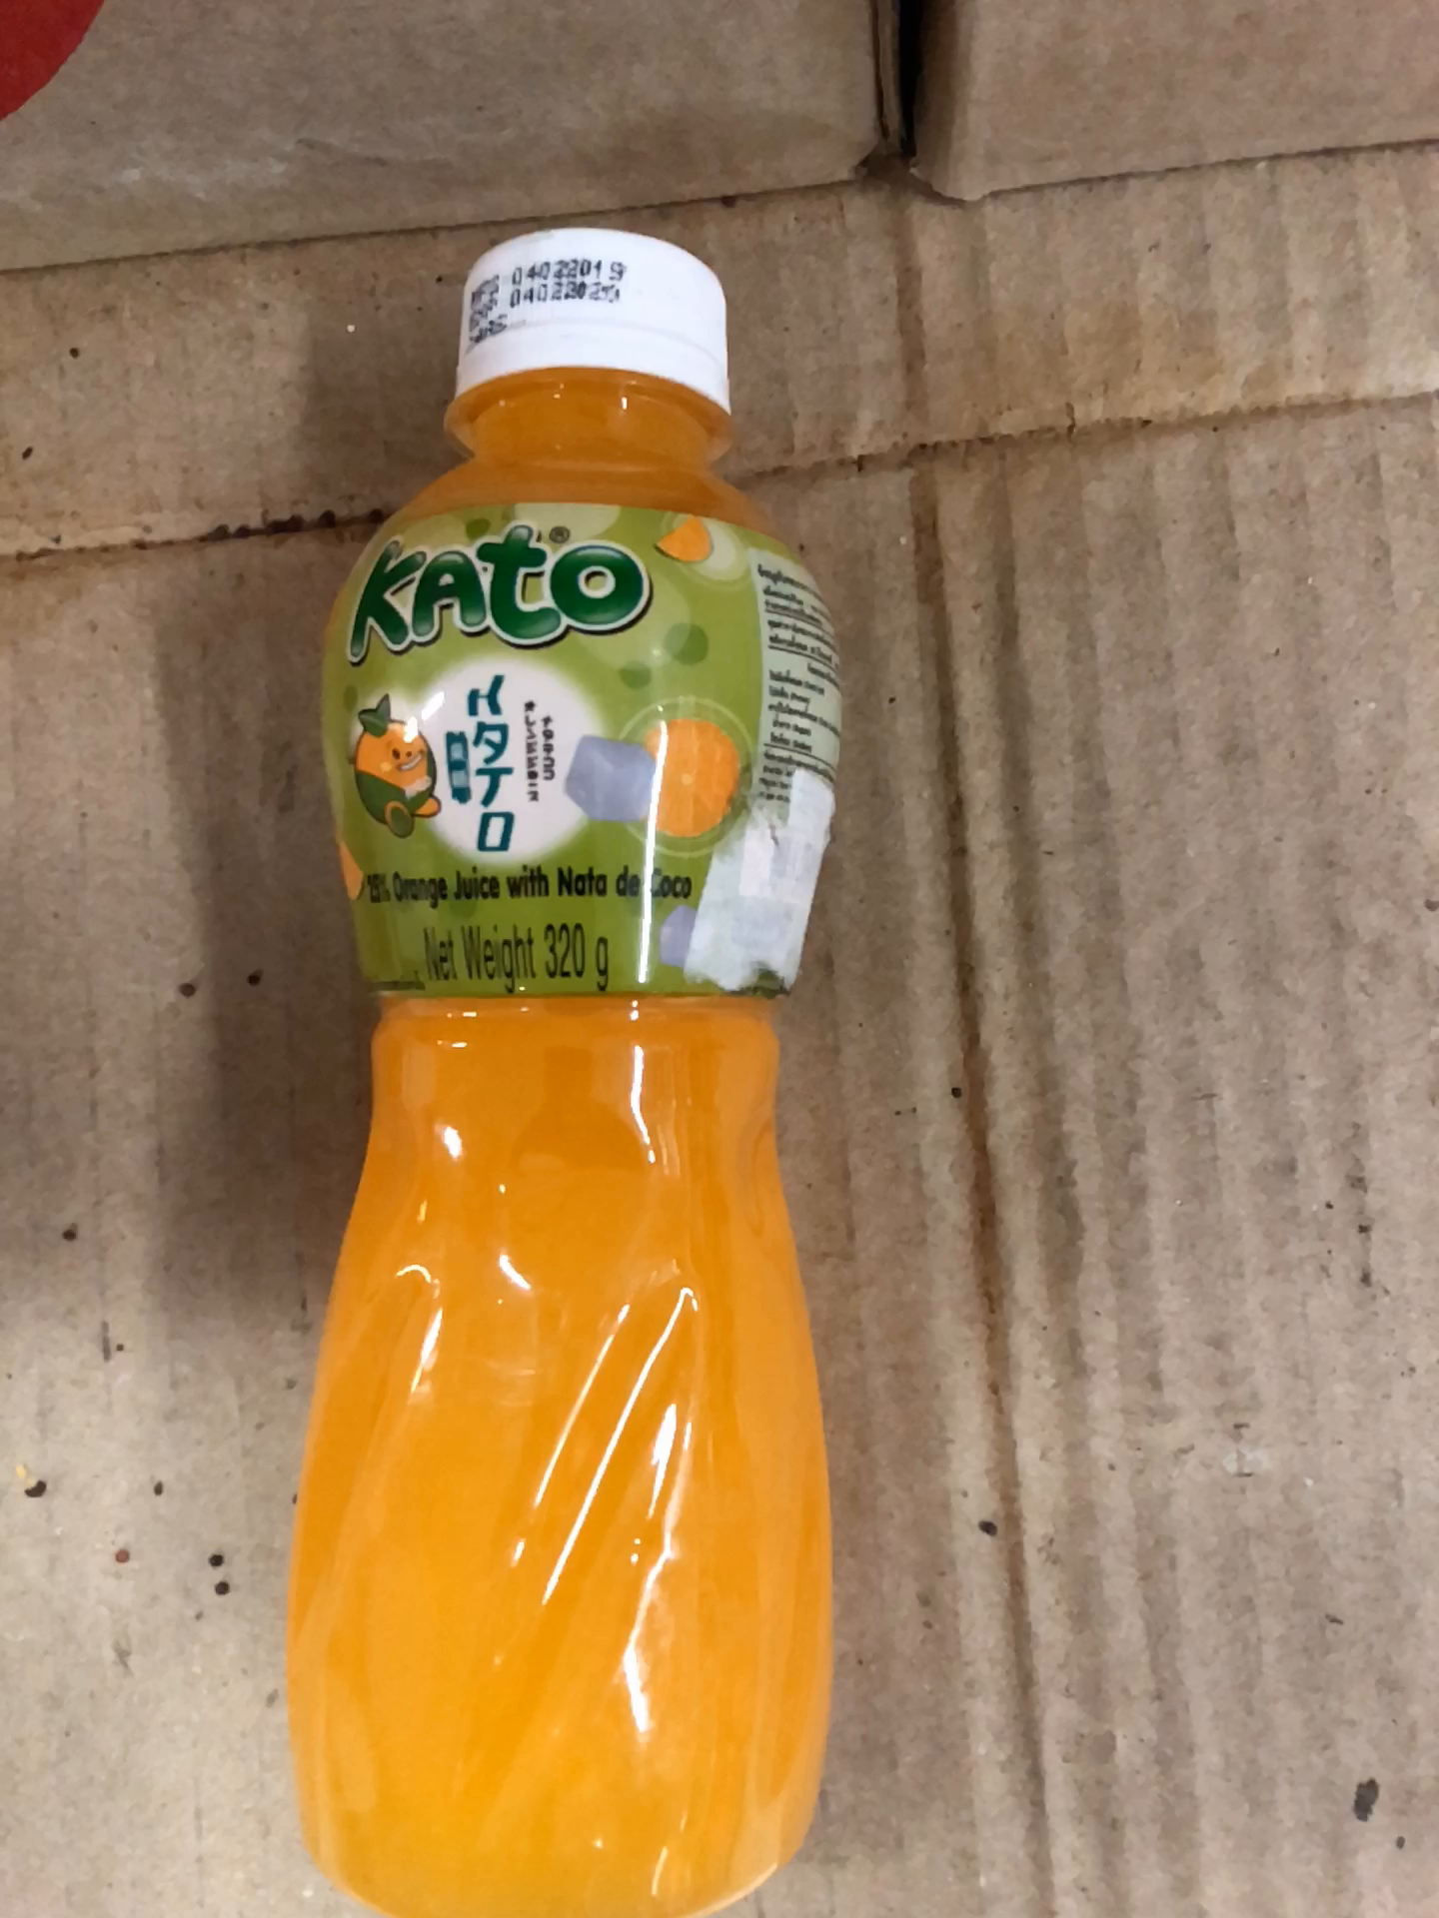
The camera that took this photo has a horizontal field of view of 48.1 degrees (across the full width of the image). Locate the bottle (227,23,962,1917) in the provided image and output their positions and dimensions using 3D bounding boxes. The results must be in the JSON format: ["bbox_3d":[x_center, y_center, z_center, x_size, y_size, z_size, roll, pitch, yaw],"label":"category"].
[{"bbox_3d":[-0.009,0.004,0.188,0.070,0.060,0.190,0,87,7],"label":"bottle"}]
